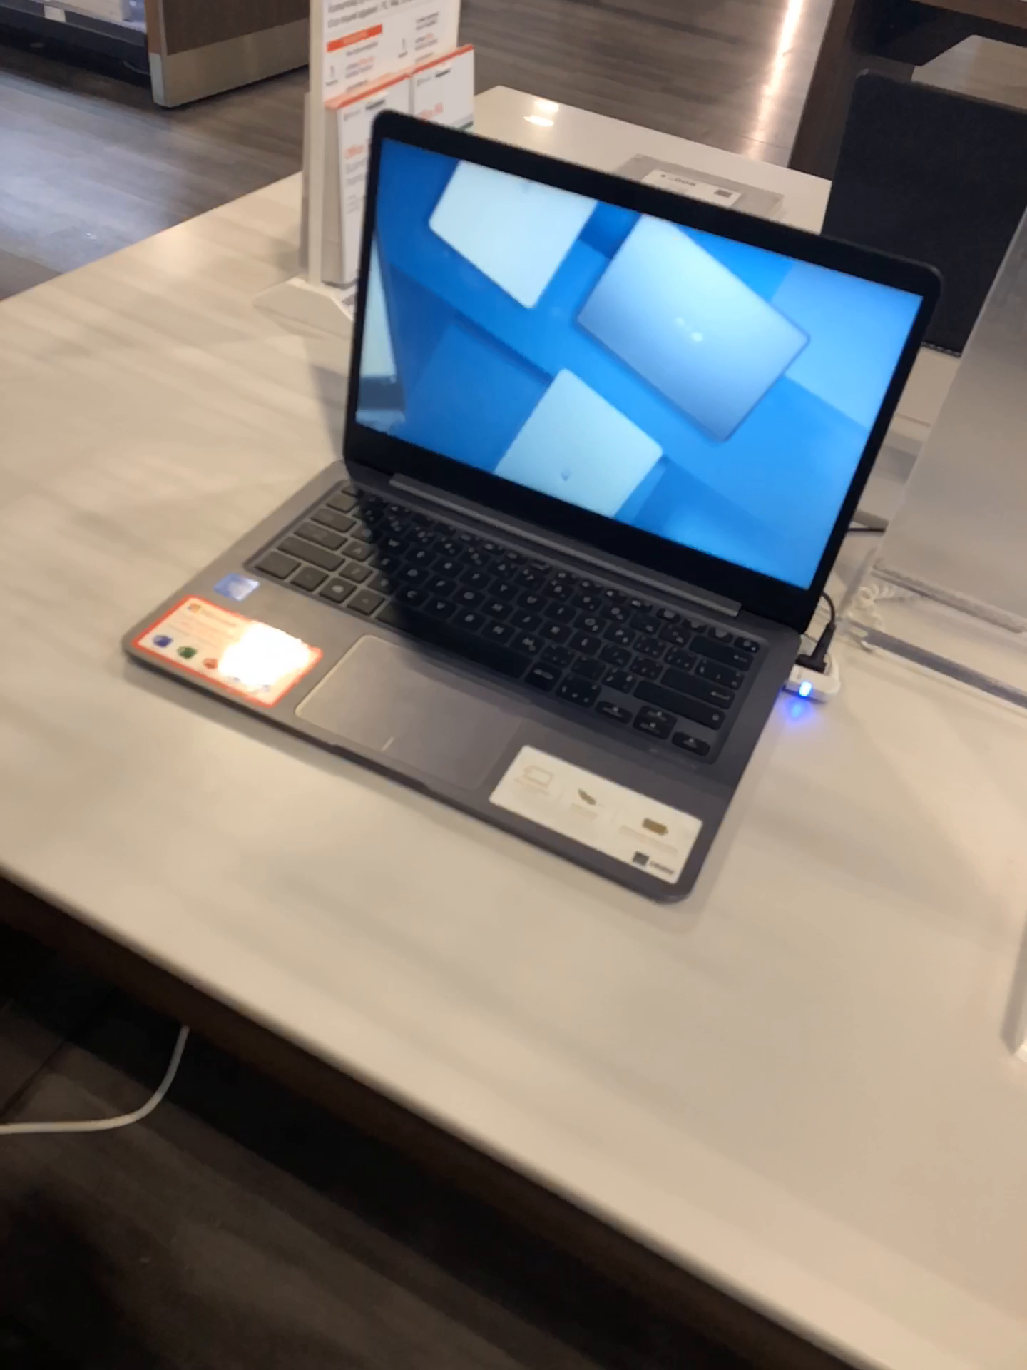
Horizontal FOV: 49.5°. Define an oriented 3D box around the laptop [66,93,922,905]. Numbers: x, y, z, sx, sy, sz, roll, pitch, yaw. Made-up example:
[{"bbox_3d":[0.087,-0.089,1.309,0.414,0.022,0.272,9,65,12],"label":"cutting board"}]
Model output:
[{"bbox_3d":[0.003,-0.126,0.603,0.333,0.180,0.301,22,49,12],"label":"laptop"}]
